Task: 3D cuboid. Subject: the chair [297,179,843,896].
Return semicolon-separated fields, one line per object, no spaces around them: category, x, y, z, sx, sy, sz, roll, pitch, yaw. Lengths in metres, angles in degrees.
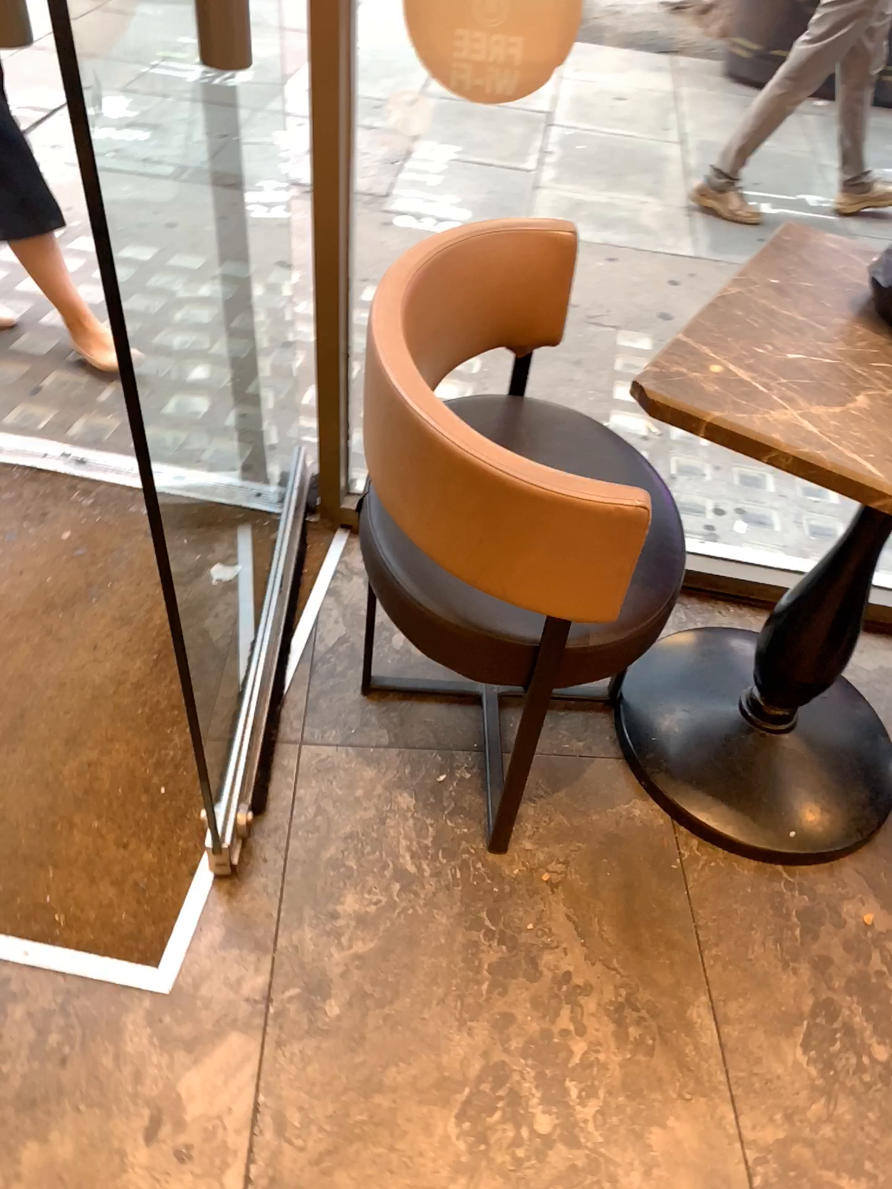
chair;0.134;-0.106;1.344;0.510;0.654;0.767;9;44;2
